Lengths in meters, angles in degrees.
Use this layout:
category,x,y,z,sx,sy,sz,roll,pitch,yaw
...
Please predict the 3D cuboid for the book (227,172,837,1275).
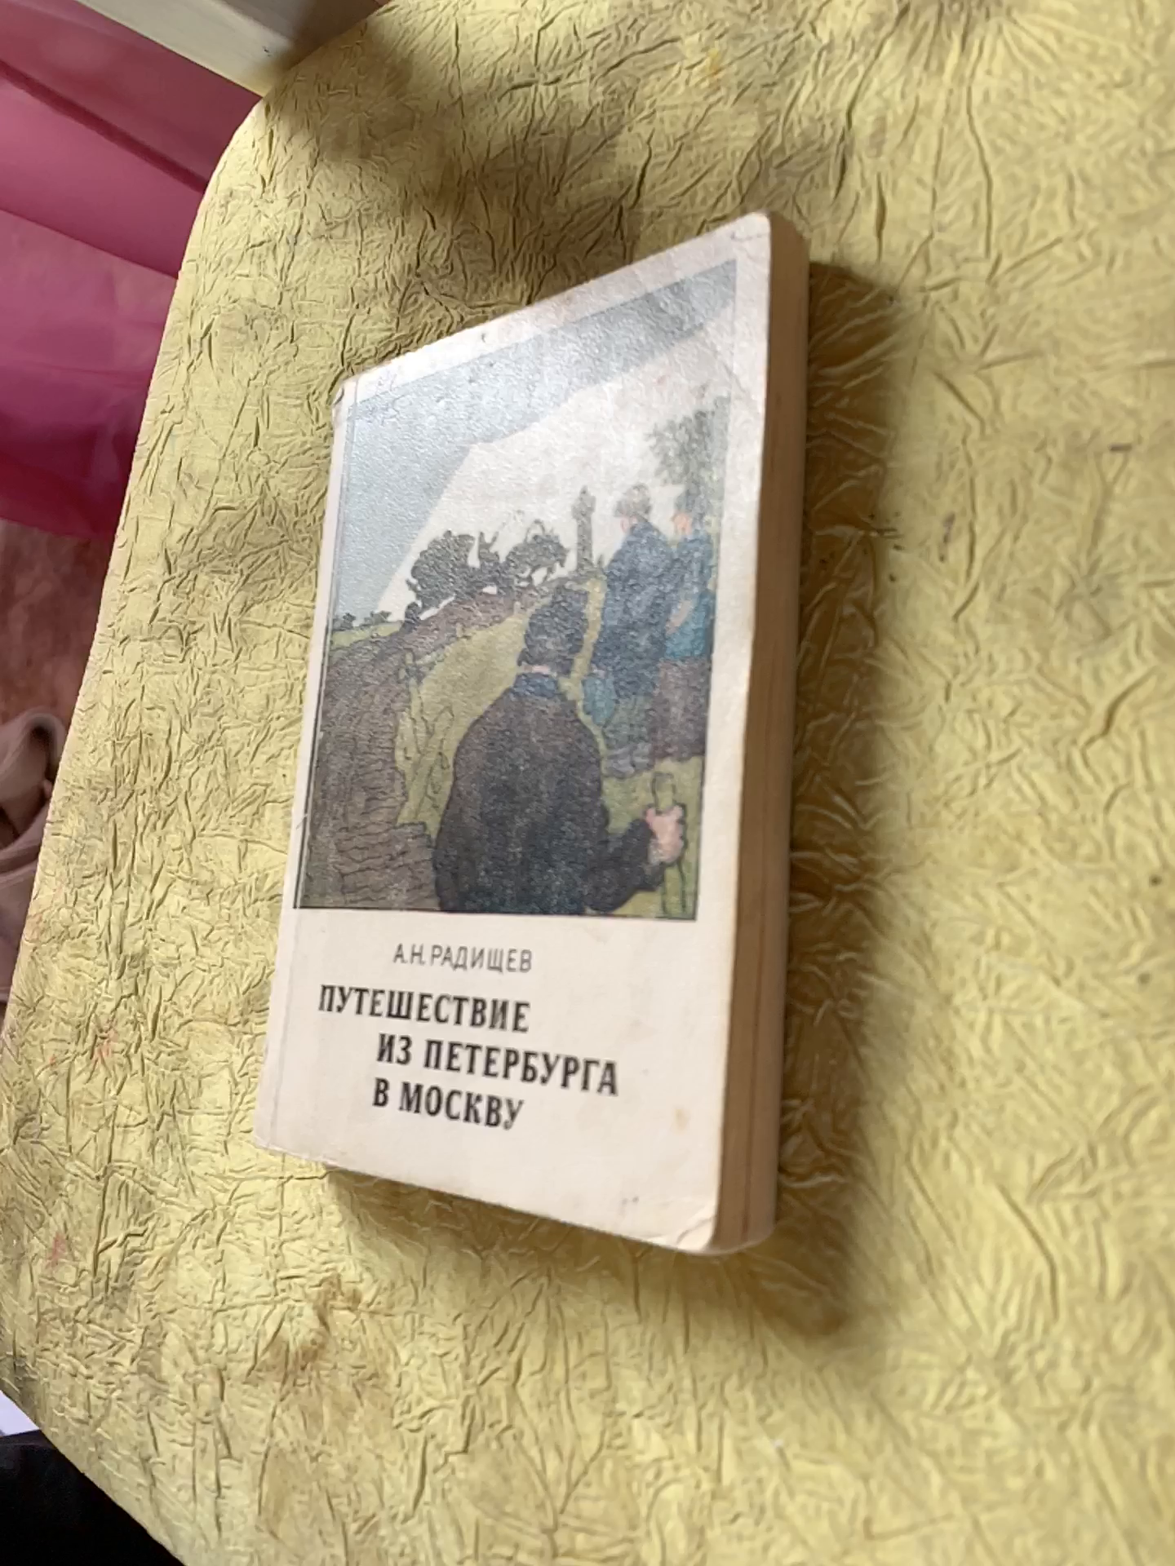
category,x,y,z,sx,sy,sz,roll,pitch,yaw
book,-0.014,-0.010,0.217,0.112,0.020,0.162,-3,78,40
